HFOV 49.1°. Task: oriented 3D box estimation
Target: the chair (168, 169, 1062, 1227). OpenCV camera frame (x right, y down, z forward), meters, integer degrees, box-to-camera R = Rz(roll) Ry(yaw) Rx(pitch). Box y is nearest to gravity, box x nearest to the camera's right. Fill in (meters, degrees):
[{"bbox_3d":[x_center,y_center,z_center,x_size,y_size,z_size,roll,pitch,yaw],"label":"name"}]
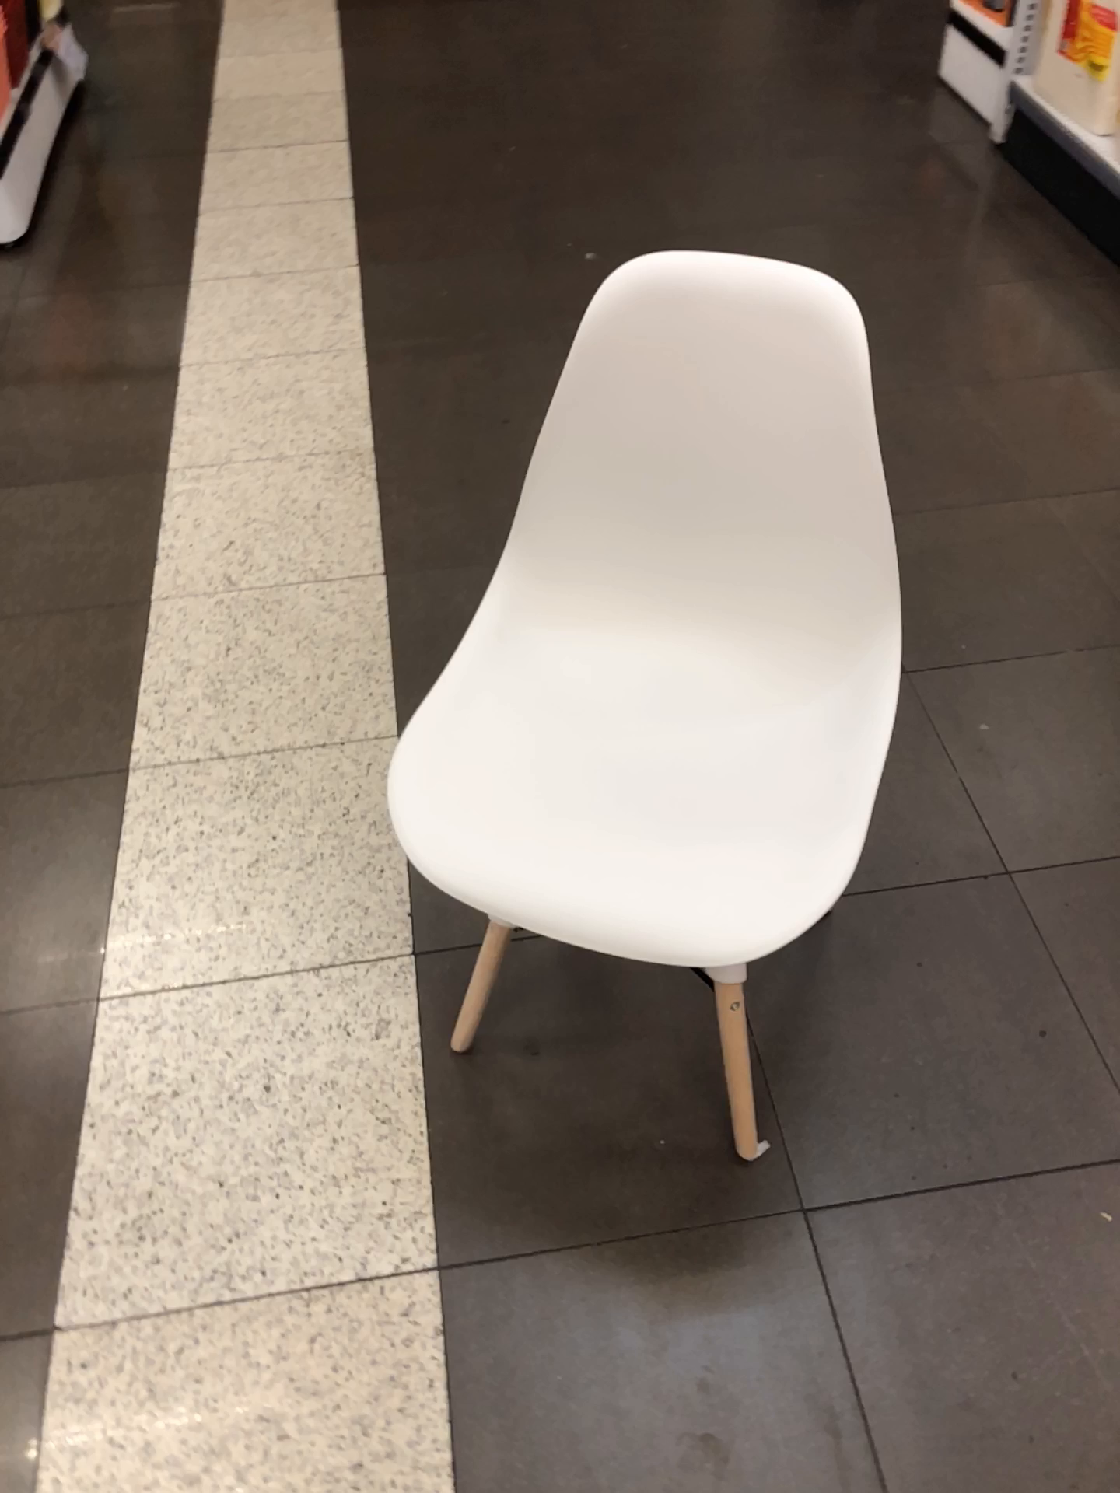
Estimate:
[{"bbox_3d":[0.088,-0.037,1.235,0.521,0.794,0.543,17,49,19],"label":"chair"}]
